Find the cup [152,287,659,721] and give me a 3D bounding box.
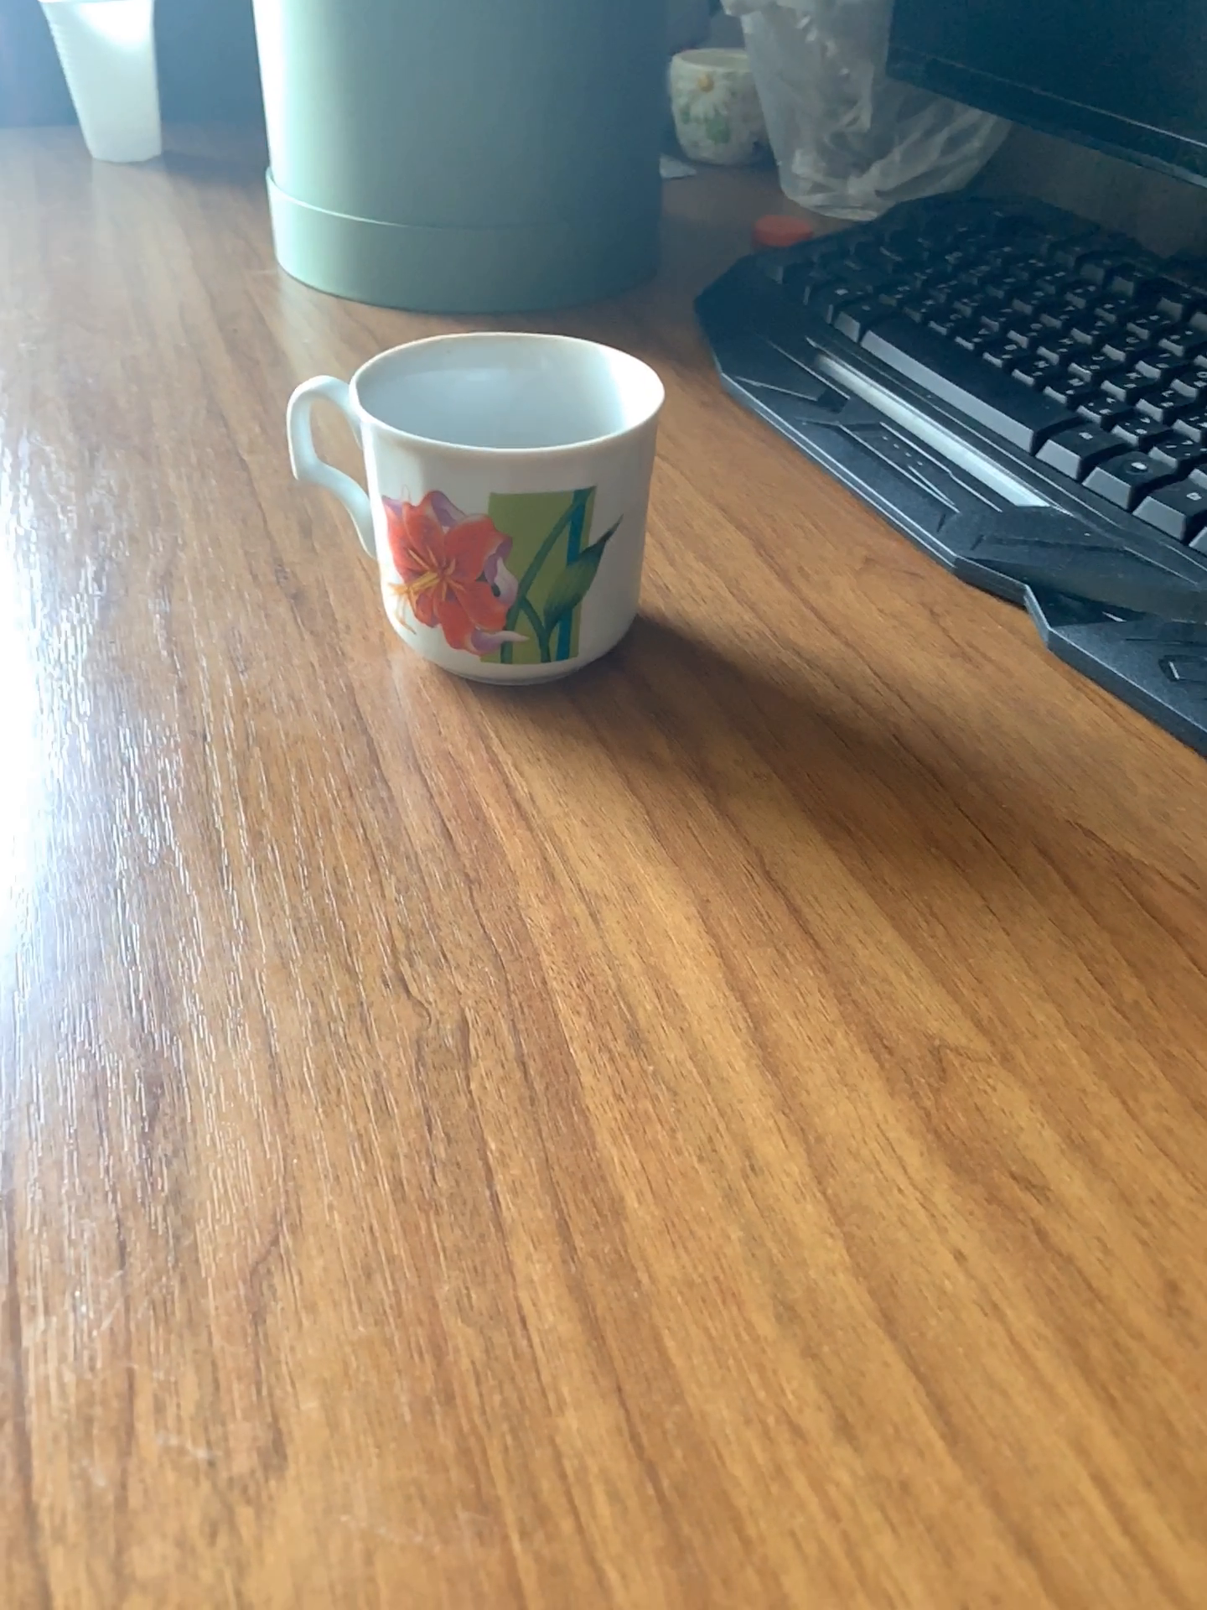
[{"bbox_3d":[-0.048,-0.084,0.341,0.110,0.080,0.070,10,39,9],"label":"cup"}]
